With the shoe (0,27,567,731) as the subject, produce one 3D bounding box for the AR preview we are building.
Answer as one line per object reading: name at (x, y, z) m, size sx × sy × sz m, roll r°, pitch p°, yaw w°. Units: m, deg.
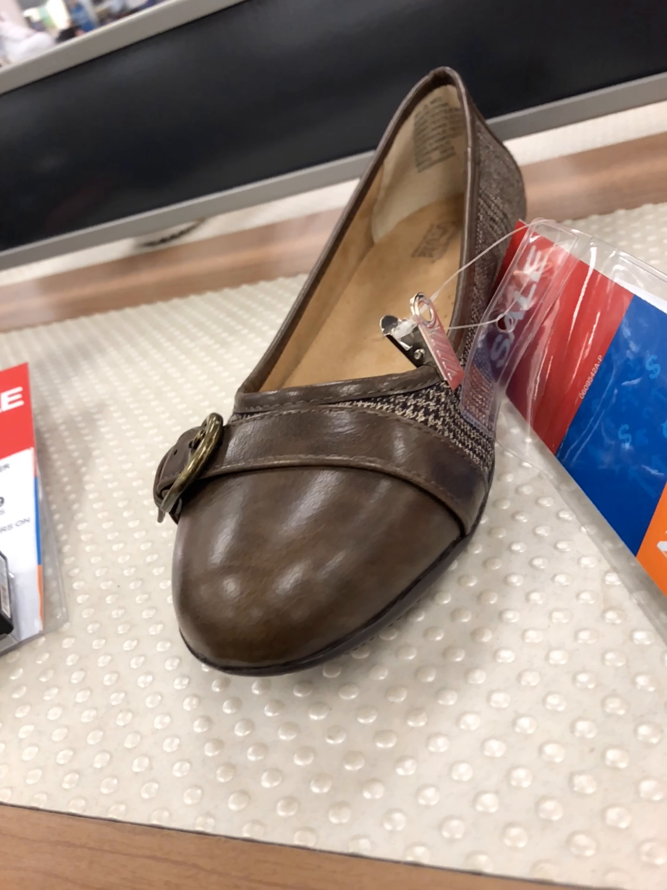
shoe at (0.014, -0.056, 0.254) m, size 0.093 × 0.080 × 0.279 m, roll -4°, pitch 36°, yaw 26°
